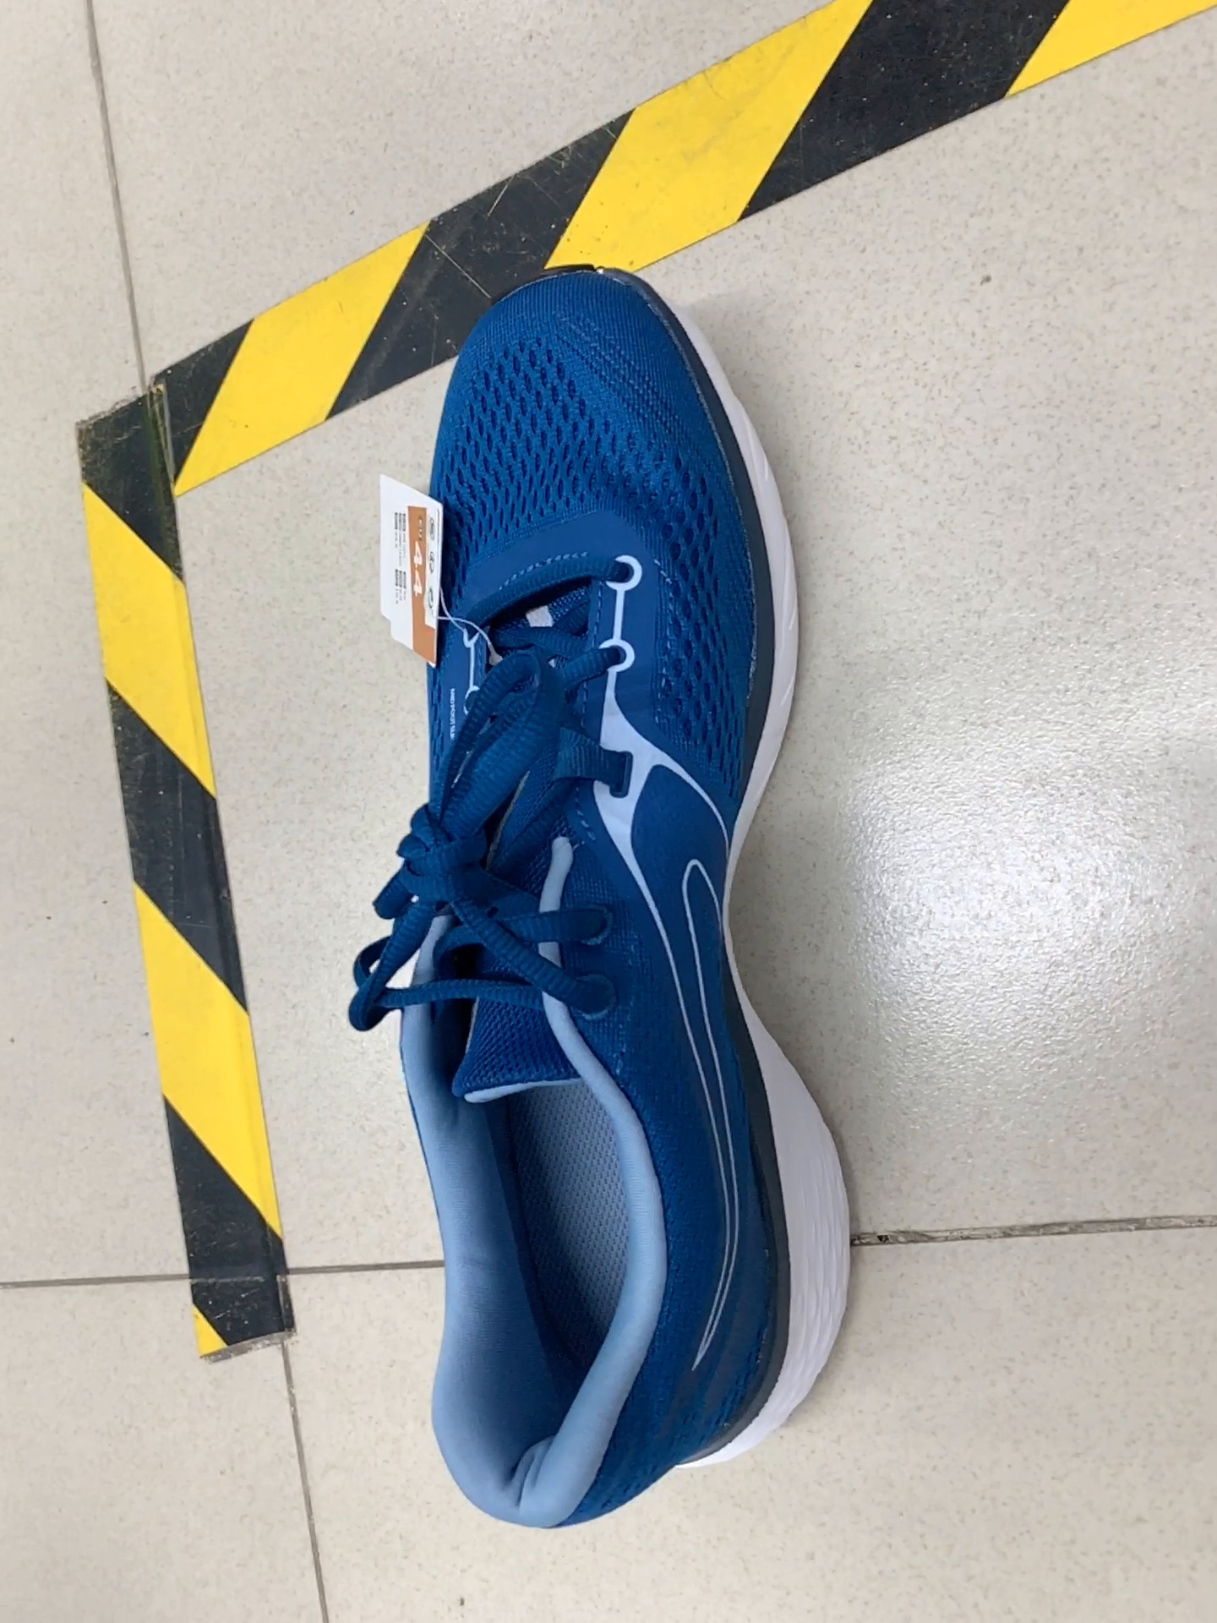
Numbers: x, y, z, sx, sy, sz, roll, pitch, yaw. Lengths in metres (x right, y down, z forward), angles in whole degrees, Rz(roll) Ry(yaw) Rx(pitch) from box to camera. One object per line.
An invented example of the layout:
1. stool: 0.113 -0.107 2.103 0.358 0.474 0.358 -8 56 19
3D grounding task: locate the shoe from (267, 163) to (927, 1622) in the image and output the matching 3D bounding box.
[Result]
1. shoe: -0.008 0.021 0.290 0.110 0.070 0.290 -10 80 28
